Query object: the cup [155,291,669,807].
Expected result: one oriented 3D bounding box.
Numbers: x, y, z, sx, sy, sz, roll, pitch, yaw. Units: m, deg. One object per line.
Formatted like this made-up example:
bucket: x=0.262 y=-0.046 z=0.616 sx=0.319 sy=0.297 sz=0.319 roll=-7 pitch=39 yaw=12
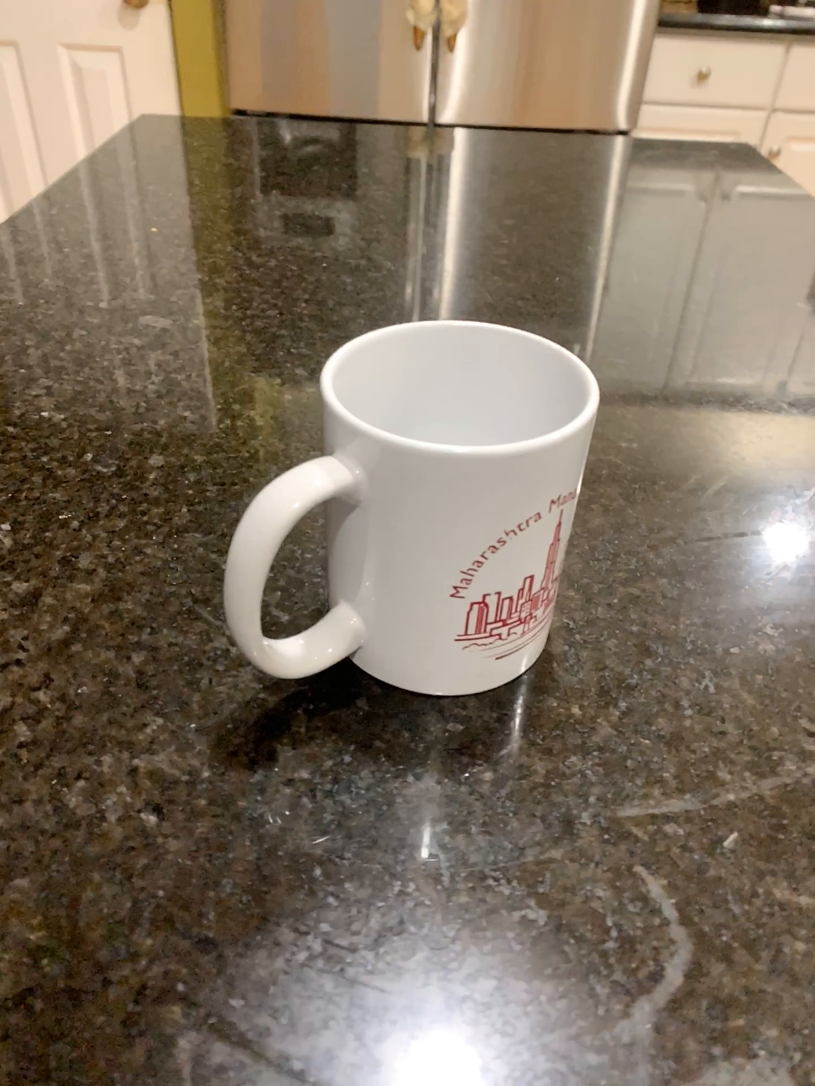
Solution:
cup: x=0.003 y=-0.007 z=0.268 sx=0.124 sy=0.097 sz=0.081 roll=-28 pitch=46 yaw=-33
